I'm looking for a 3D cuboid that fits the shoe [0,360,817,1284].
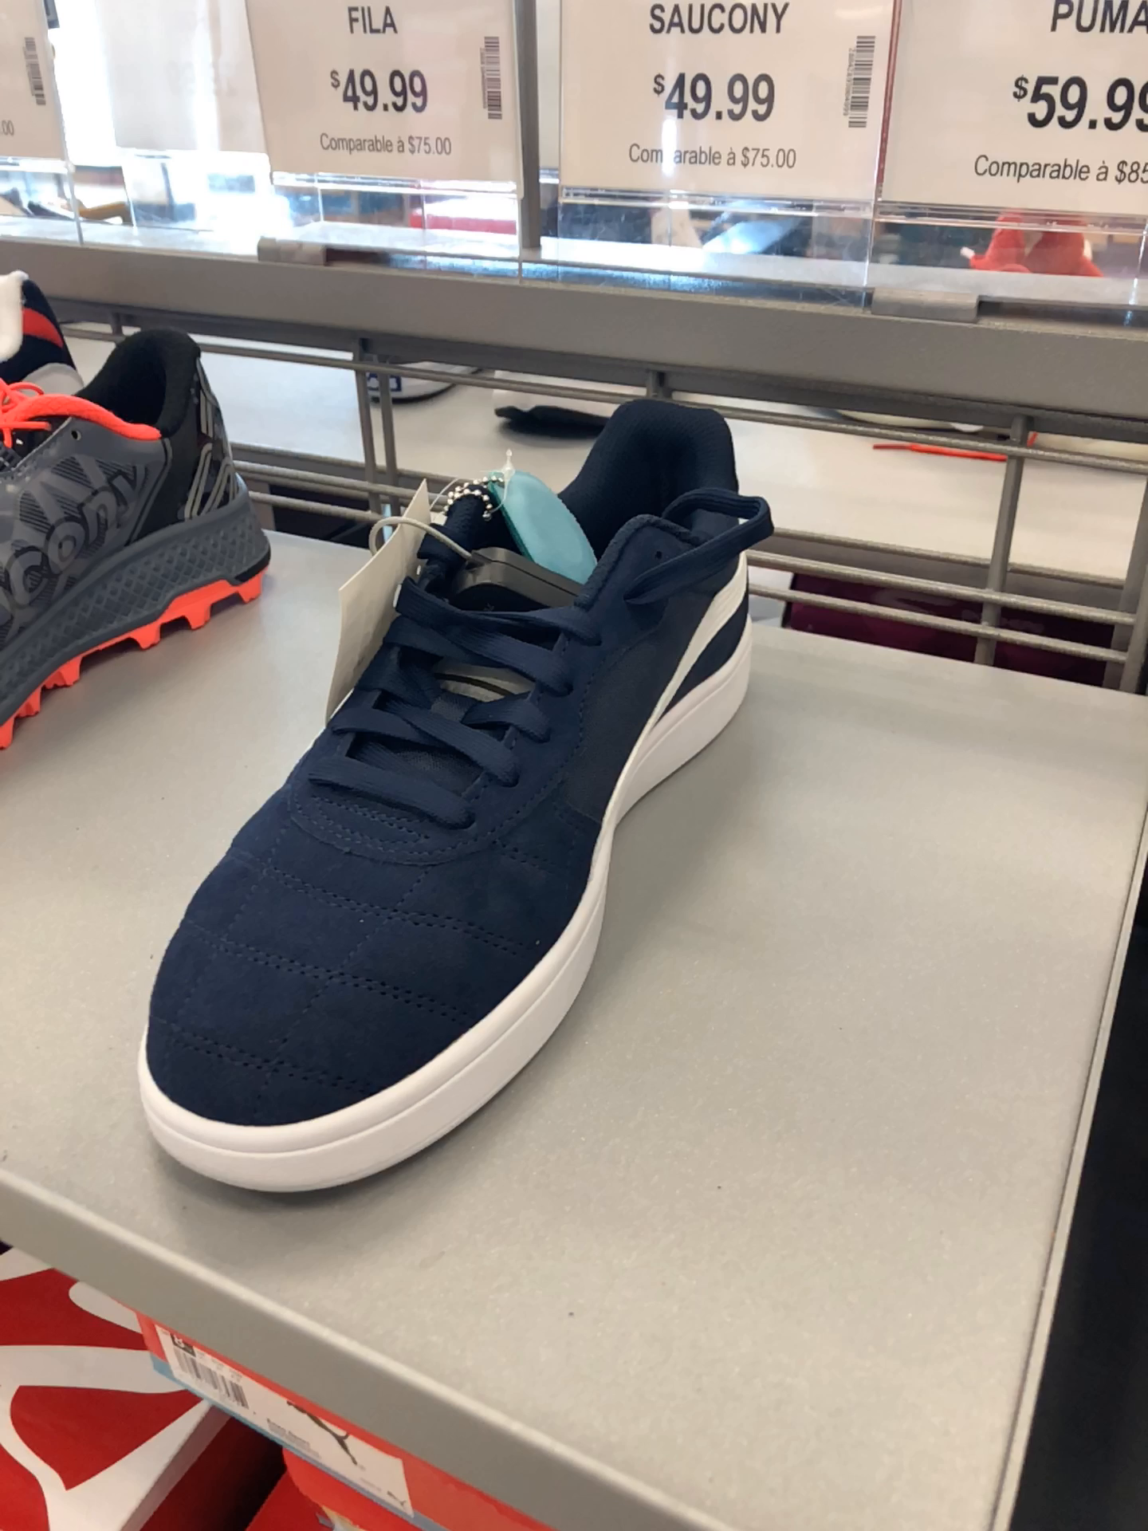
[{"bbox_3d":[-0.031,-0.016,0.342,0.119,0.119,0.242,13,34,22],"label":"shoe"}]
